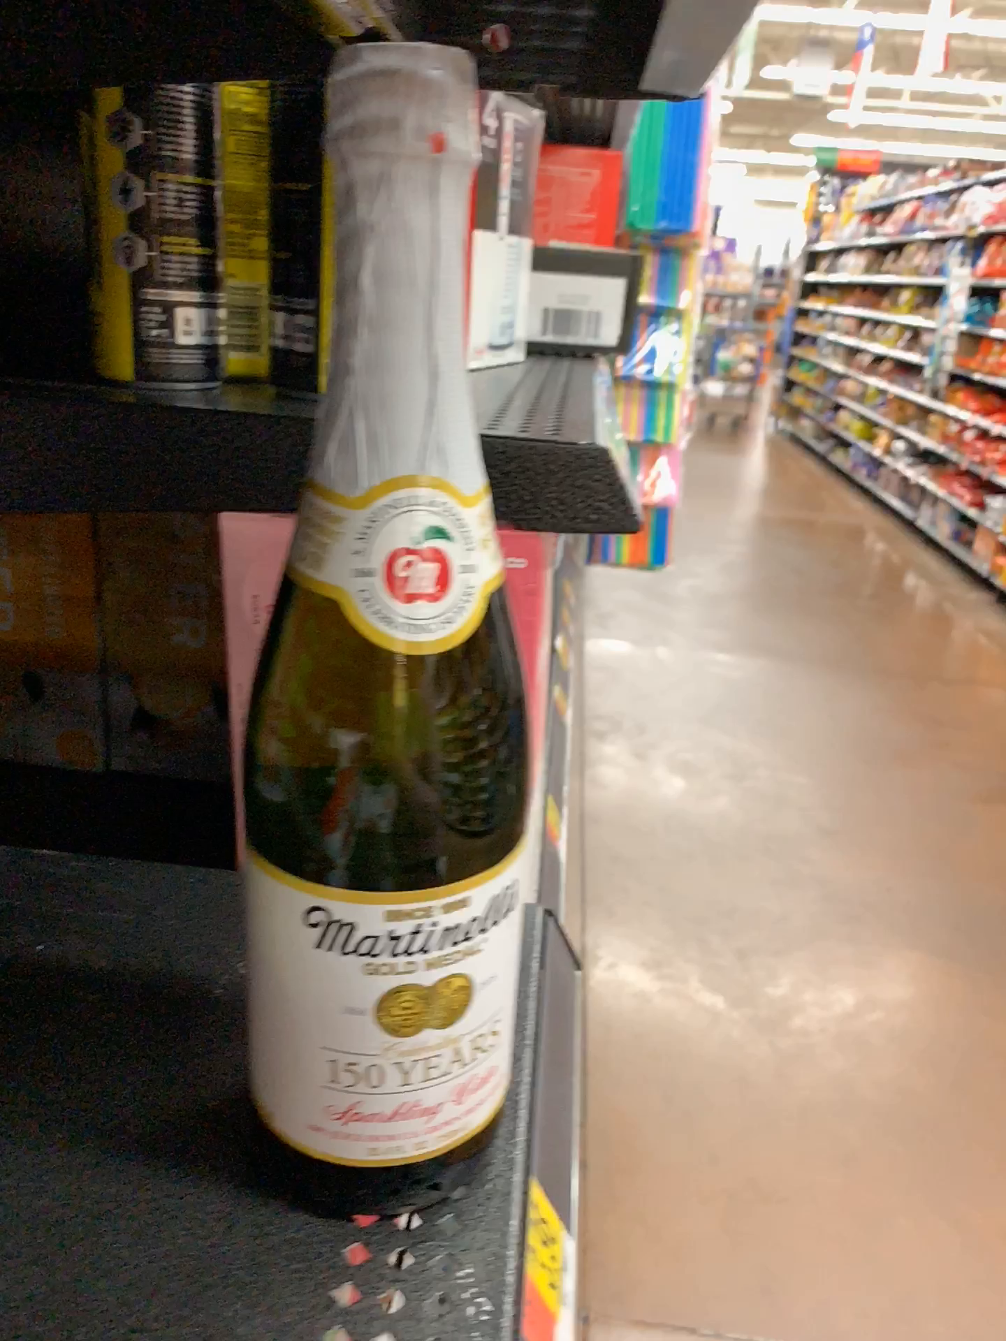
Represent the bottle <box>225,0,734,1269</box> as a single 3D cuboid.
[{"bbox_3d":[-0.025,0.003,0.280,0.089,0.299,0.090,5,21,-2],"label":"bottle"}]
